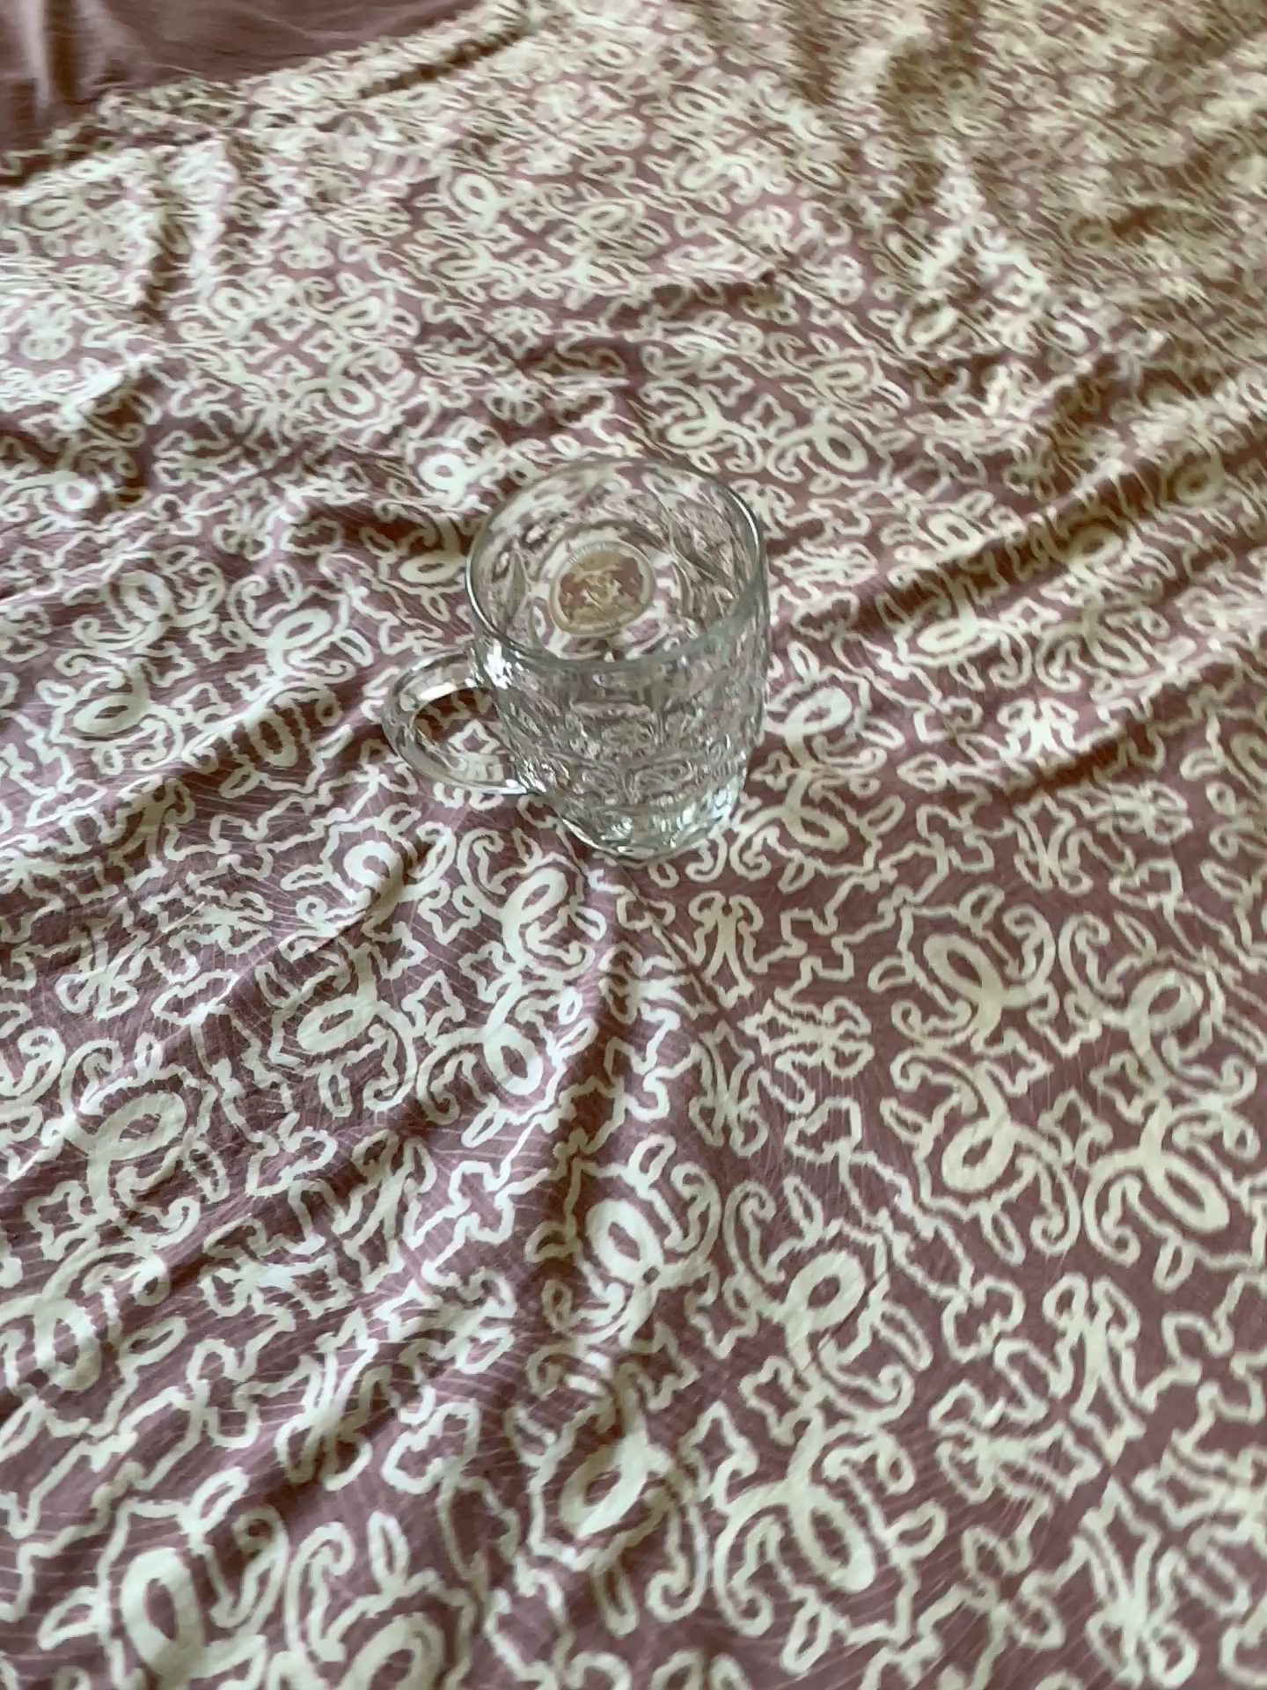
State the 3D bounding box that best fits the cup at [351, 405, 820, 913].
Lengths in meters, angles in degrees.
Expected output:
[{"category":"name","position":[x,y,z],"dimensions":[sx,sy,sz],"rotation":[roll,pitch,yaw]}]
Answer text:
[{"category":"cup","position":[-0.015,-0.058,0.415],"dimensions":[0.120,0.109,0.091],"rotation":[-11,52,-6]}]
